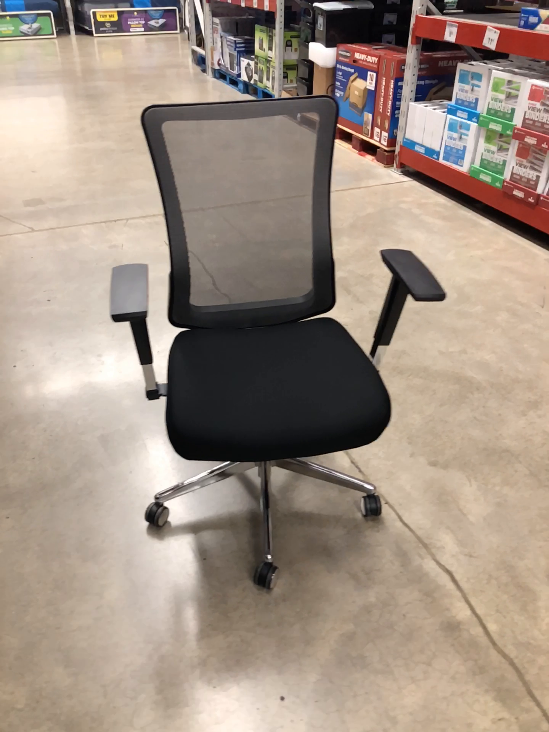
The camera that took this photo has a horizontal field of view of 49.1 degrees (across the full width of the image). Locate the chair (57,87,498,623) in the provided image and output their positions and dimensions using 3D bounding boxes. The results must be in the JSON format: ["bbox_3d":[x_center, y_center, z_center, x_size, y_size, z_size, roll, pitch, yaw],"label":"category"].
[{"bbox_3d":[-0.063,-0.072,1.477,0.690,0.987,0.712,-11,35,-16],"label":"chair"}]
